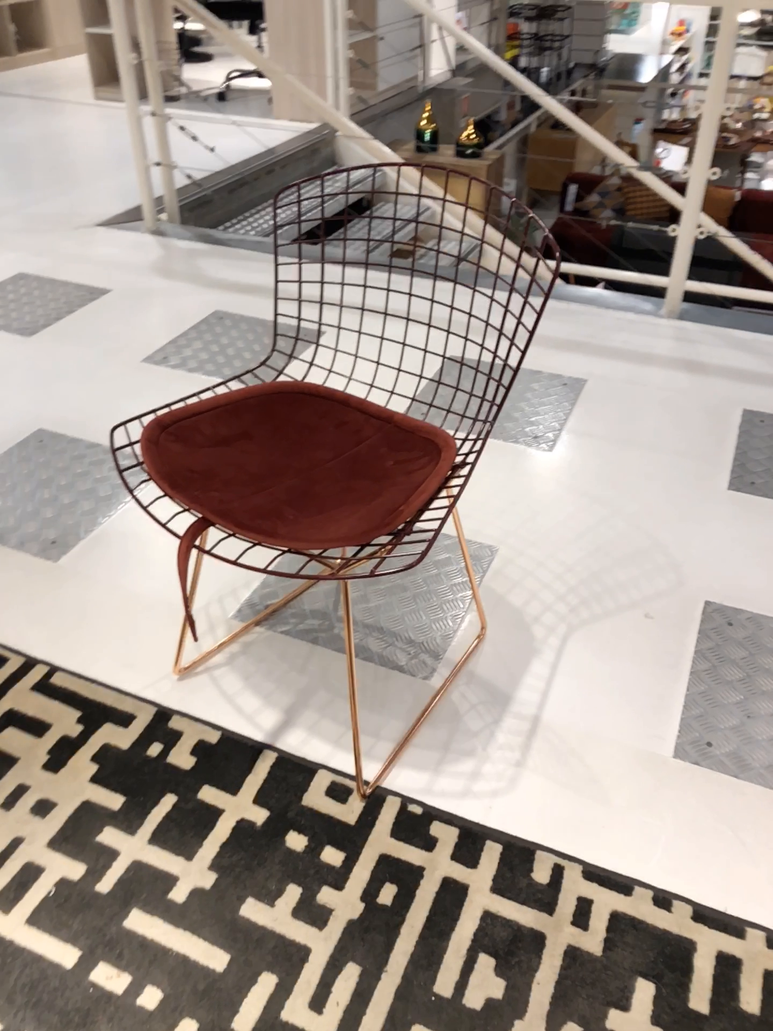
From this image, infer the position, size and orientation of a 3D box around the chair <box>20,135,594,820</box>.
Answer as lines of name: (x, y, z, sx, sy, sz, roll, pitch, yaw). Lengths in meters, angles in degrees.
chair: (-0.089, -0.083, 1.281, 0.511, 0.764, 0.503, 25, 42, 30)
